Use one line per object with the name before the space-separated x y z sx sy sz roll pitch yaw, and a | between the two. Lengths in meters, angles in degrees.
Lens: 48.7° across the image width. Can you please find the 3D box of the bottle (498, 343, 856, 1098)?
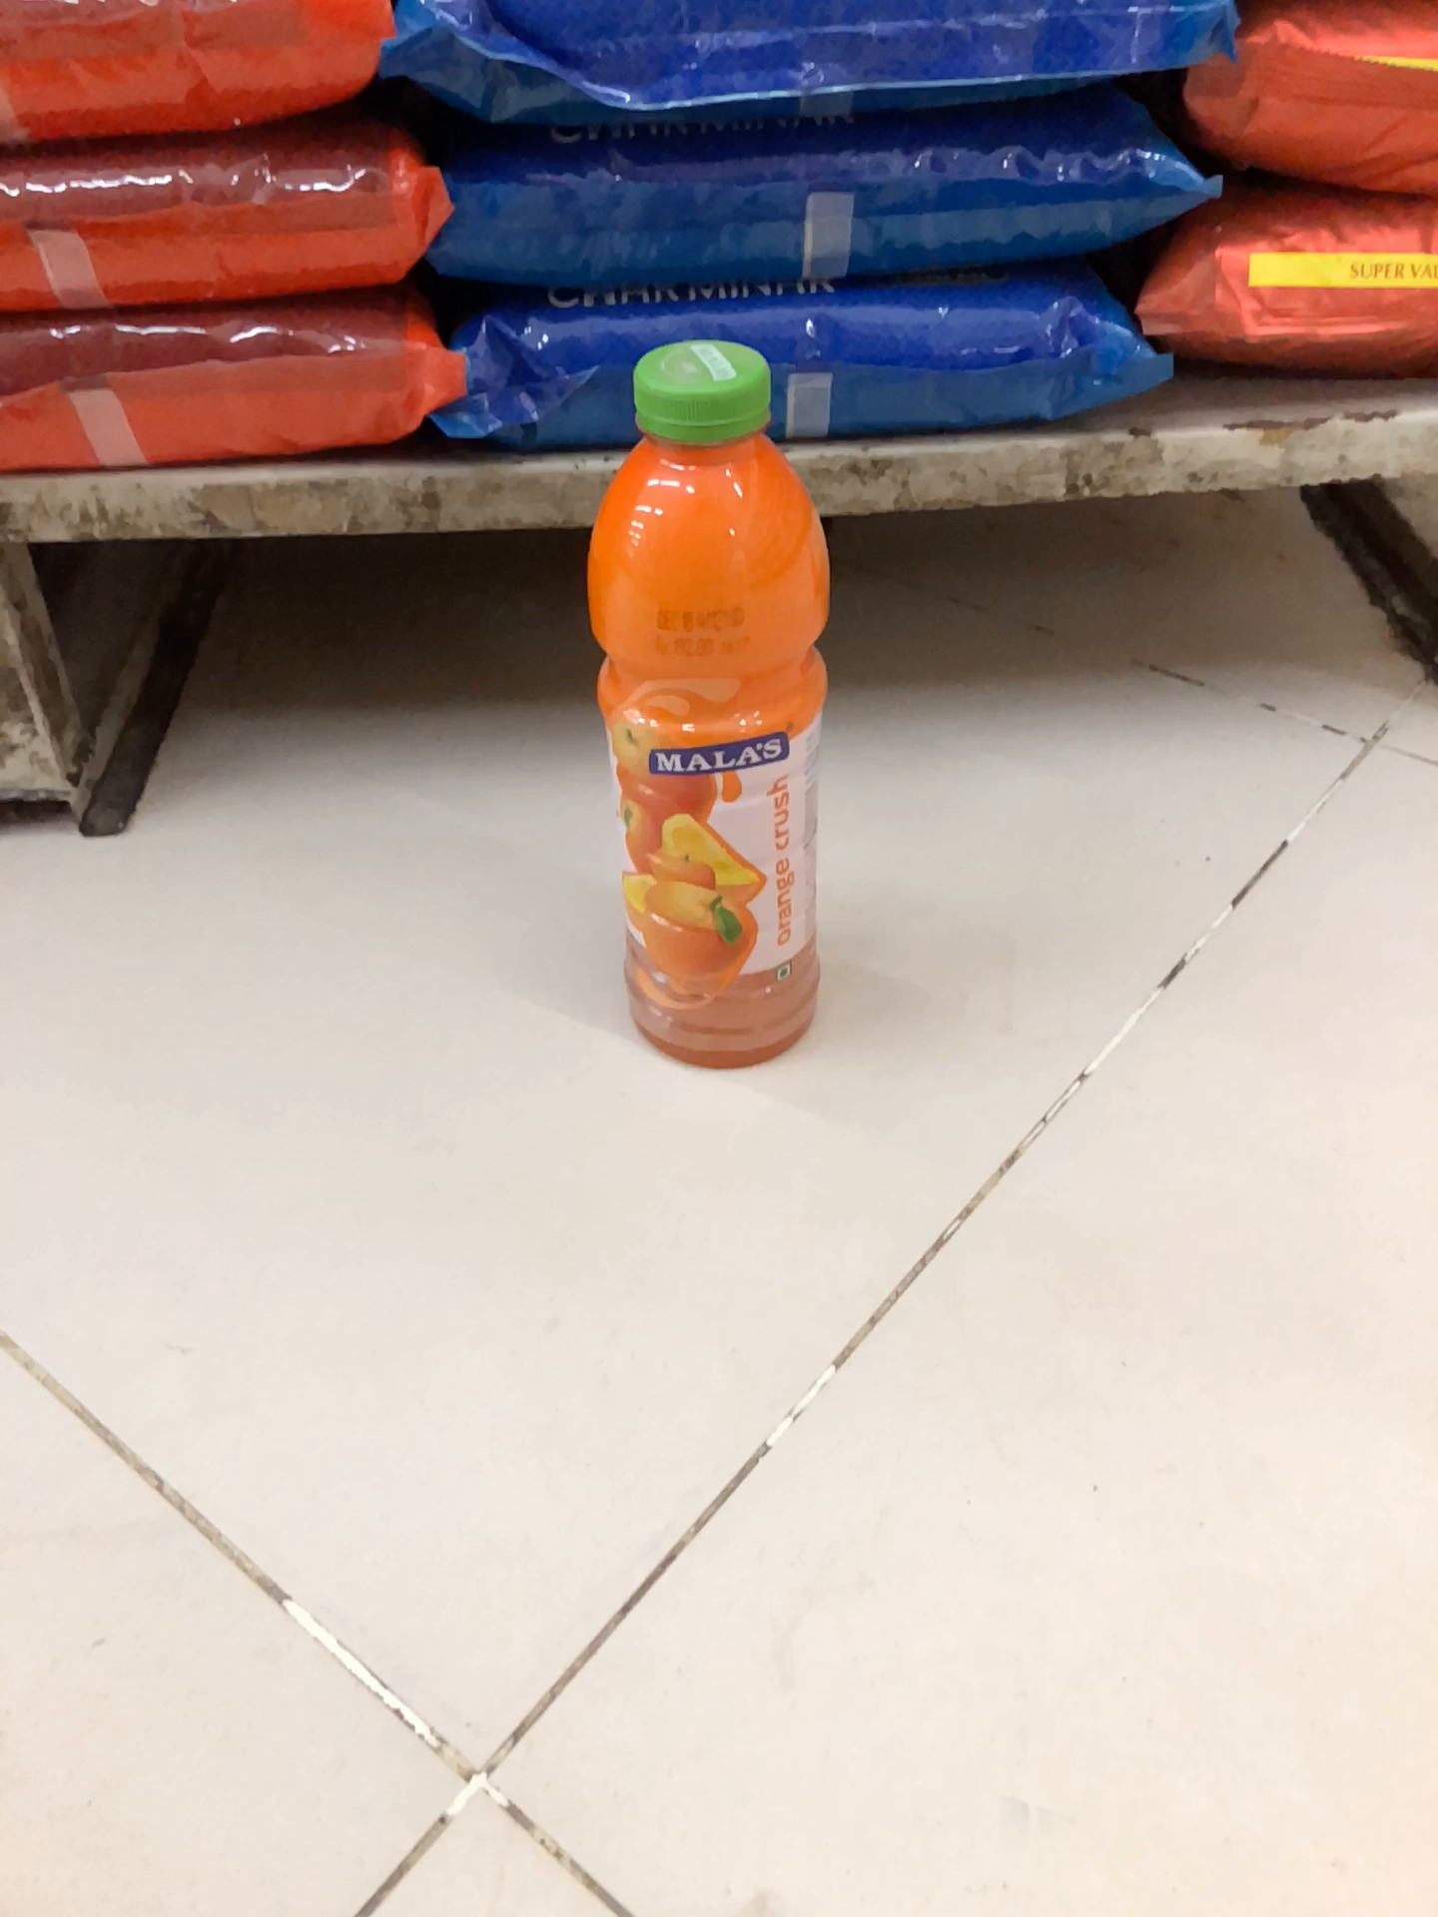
bottle | -0.004 -0.071 0.537 0.090 0.238 0.091 -2 42 2
